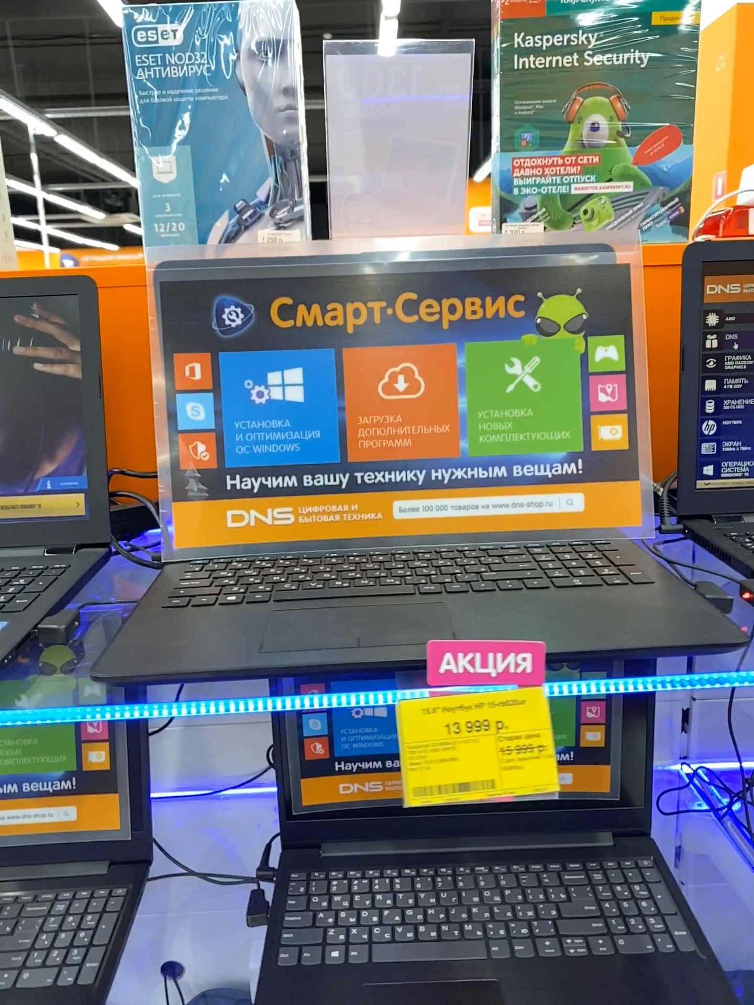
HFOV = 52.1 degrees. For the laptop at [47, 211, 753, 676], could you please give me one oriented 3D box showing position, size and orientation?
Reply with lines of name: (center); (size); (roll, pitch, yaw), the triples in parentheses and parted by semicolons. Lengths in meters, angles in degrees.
laptop: (0.022, -0.058, 0.545); (0.377, 0.235, 0.262); (-3, 14, 0)
